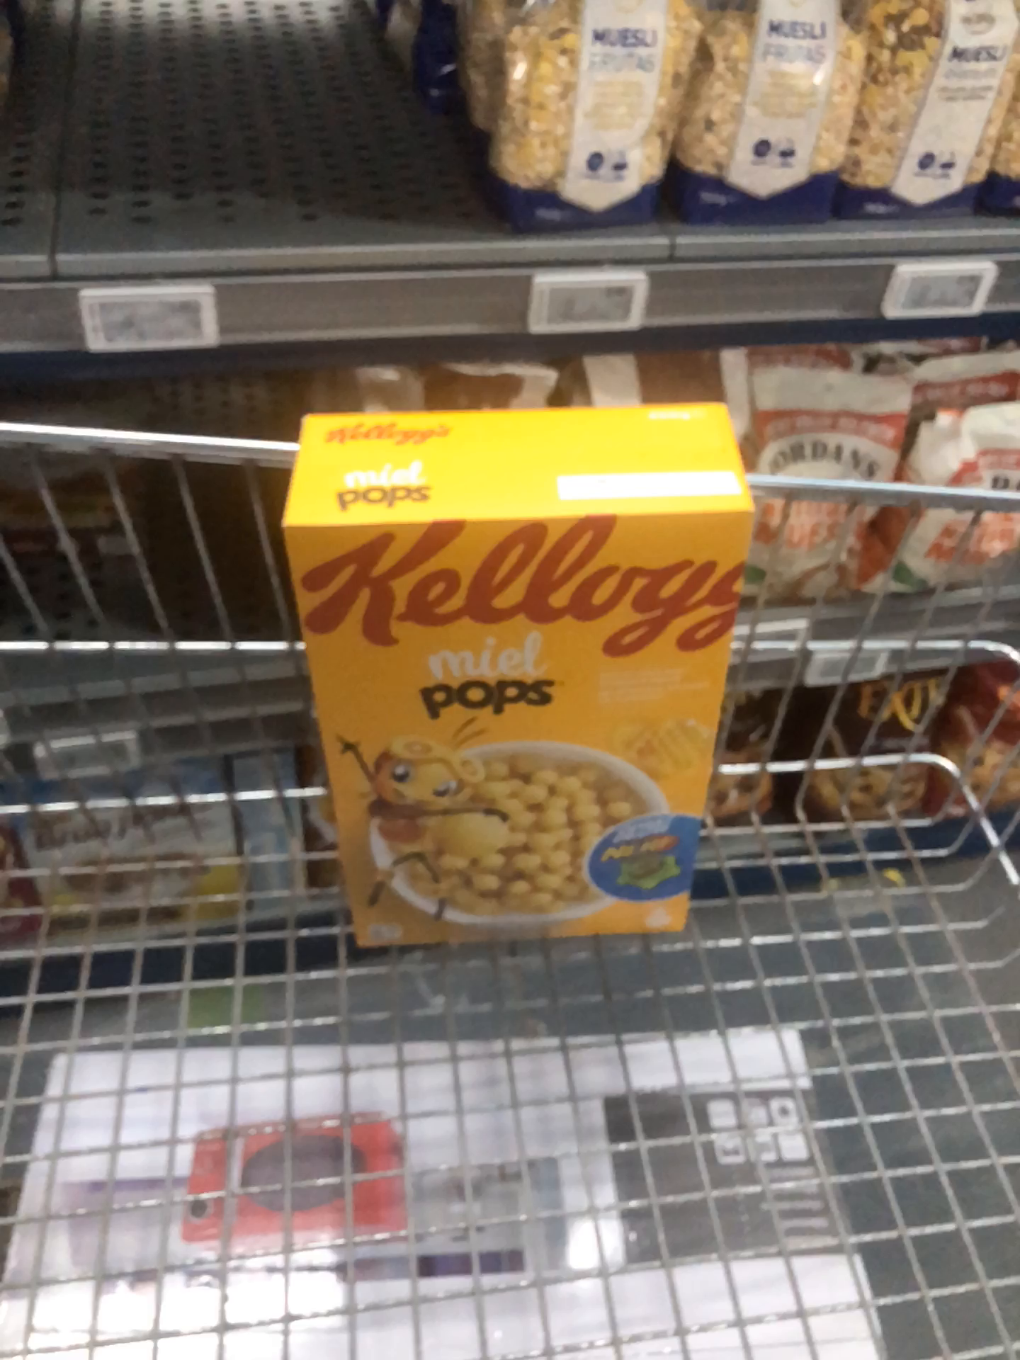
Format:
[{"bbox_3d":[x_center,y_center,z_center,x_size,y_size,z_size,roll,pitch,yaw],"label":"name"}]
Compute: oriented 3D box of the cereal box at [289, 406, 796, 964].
[{"bbox_3d":[0.008,0.014,0.574,0.200,0.279,0.090,-3,41,-5],"label":"cereal box"}]
